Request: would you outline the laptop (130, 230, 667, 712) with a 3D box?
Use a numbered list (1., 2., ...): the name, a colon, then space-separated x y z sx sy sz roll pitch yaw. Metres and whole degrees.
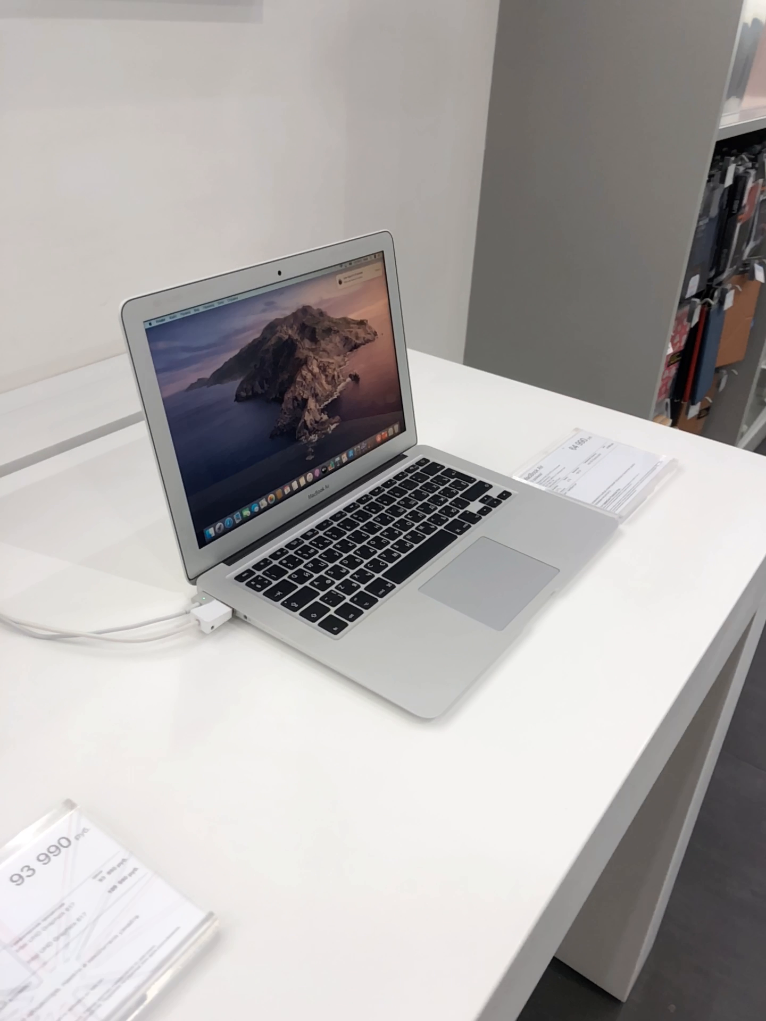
1. laptop: 0.021 -0.068 0.674 0.270 0.207 0.316 23 36 28
